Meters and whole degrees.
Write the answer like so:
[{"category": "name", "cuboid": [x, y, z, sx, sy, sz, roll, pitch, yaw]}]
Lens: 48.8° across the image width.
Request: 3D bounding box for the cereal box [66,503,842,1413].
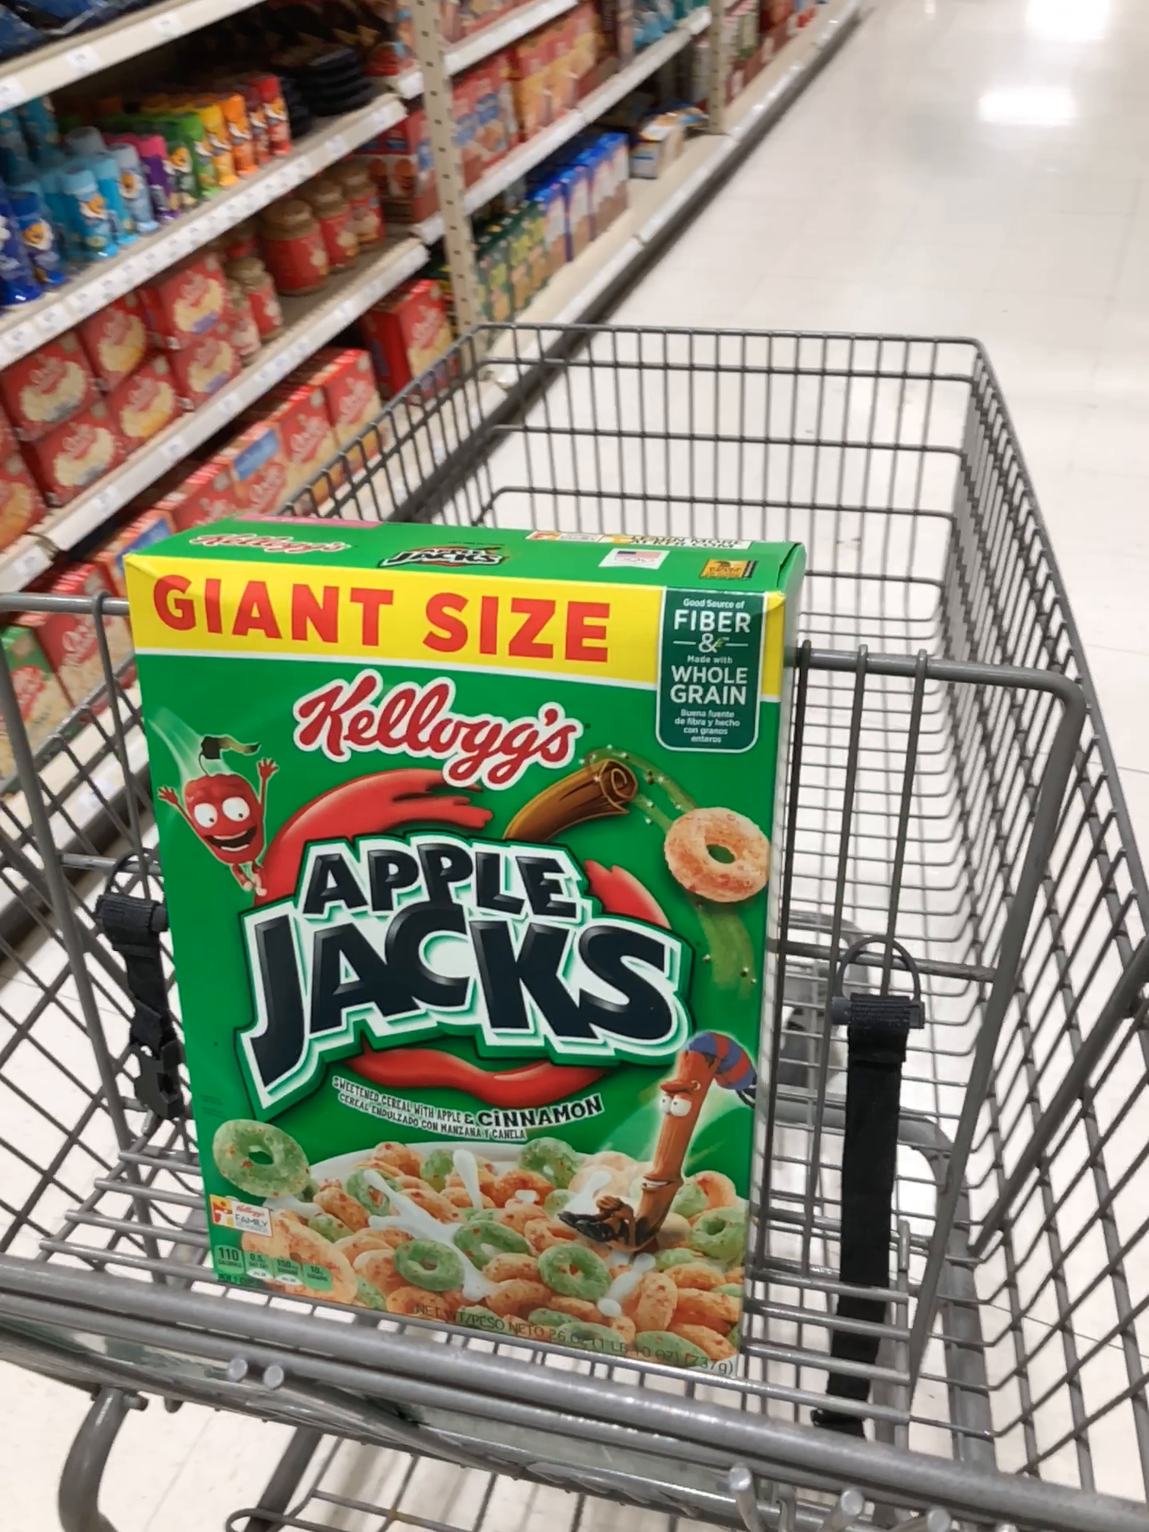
[{"category": "cereal box", "cuboid": [-0.037, 0.071, 0.493, 0.250, 0.320, 0.090, 5, 22, 13]}]
